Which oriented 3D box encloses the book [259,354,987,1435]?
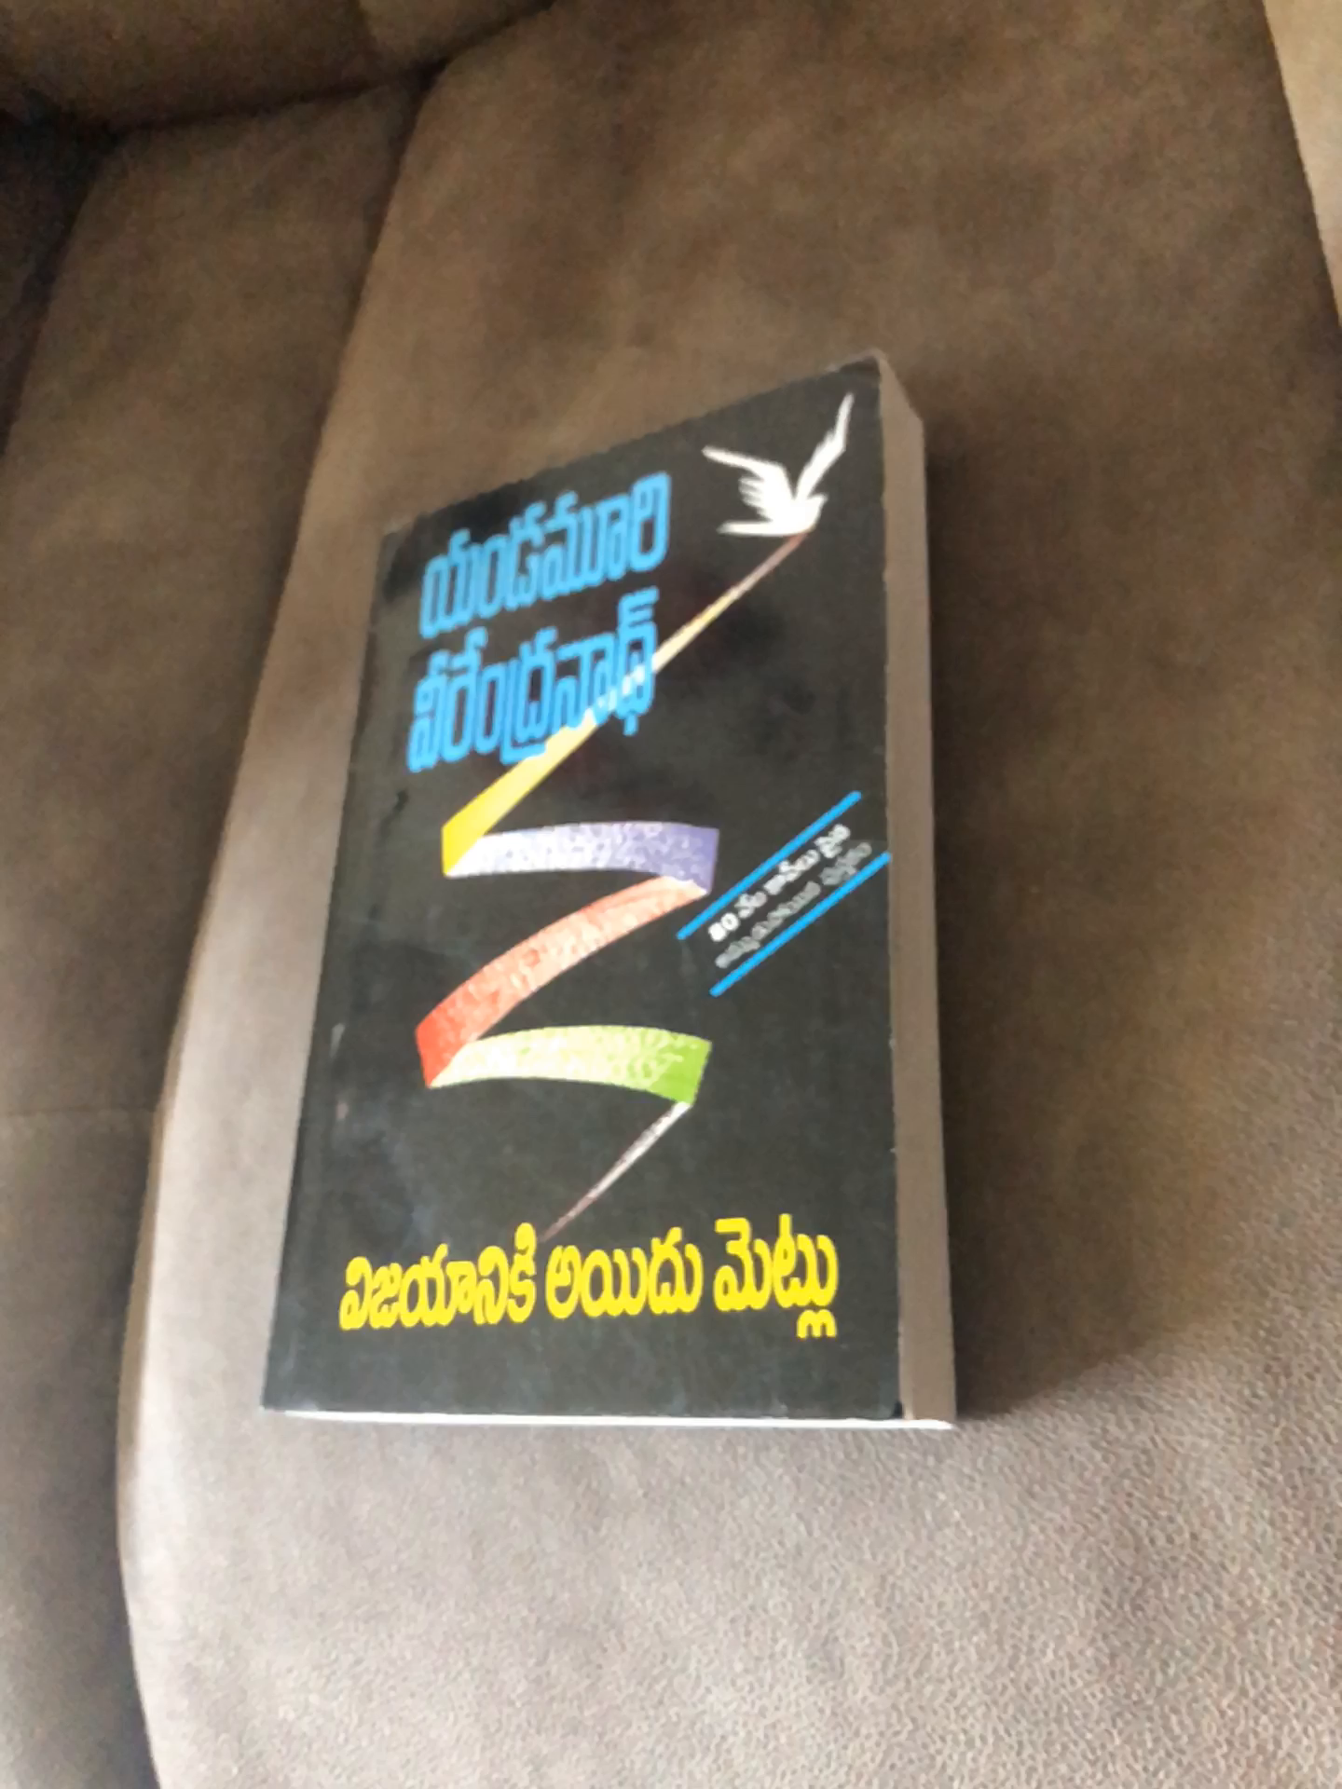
[{"bbox_3d":[-0.011,0.001,0.320,0.144,0.026,0.212,-10,65,28],"label":"book"}]
